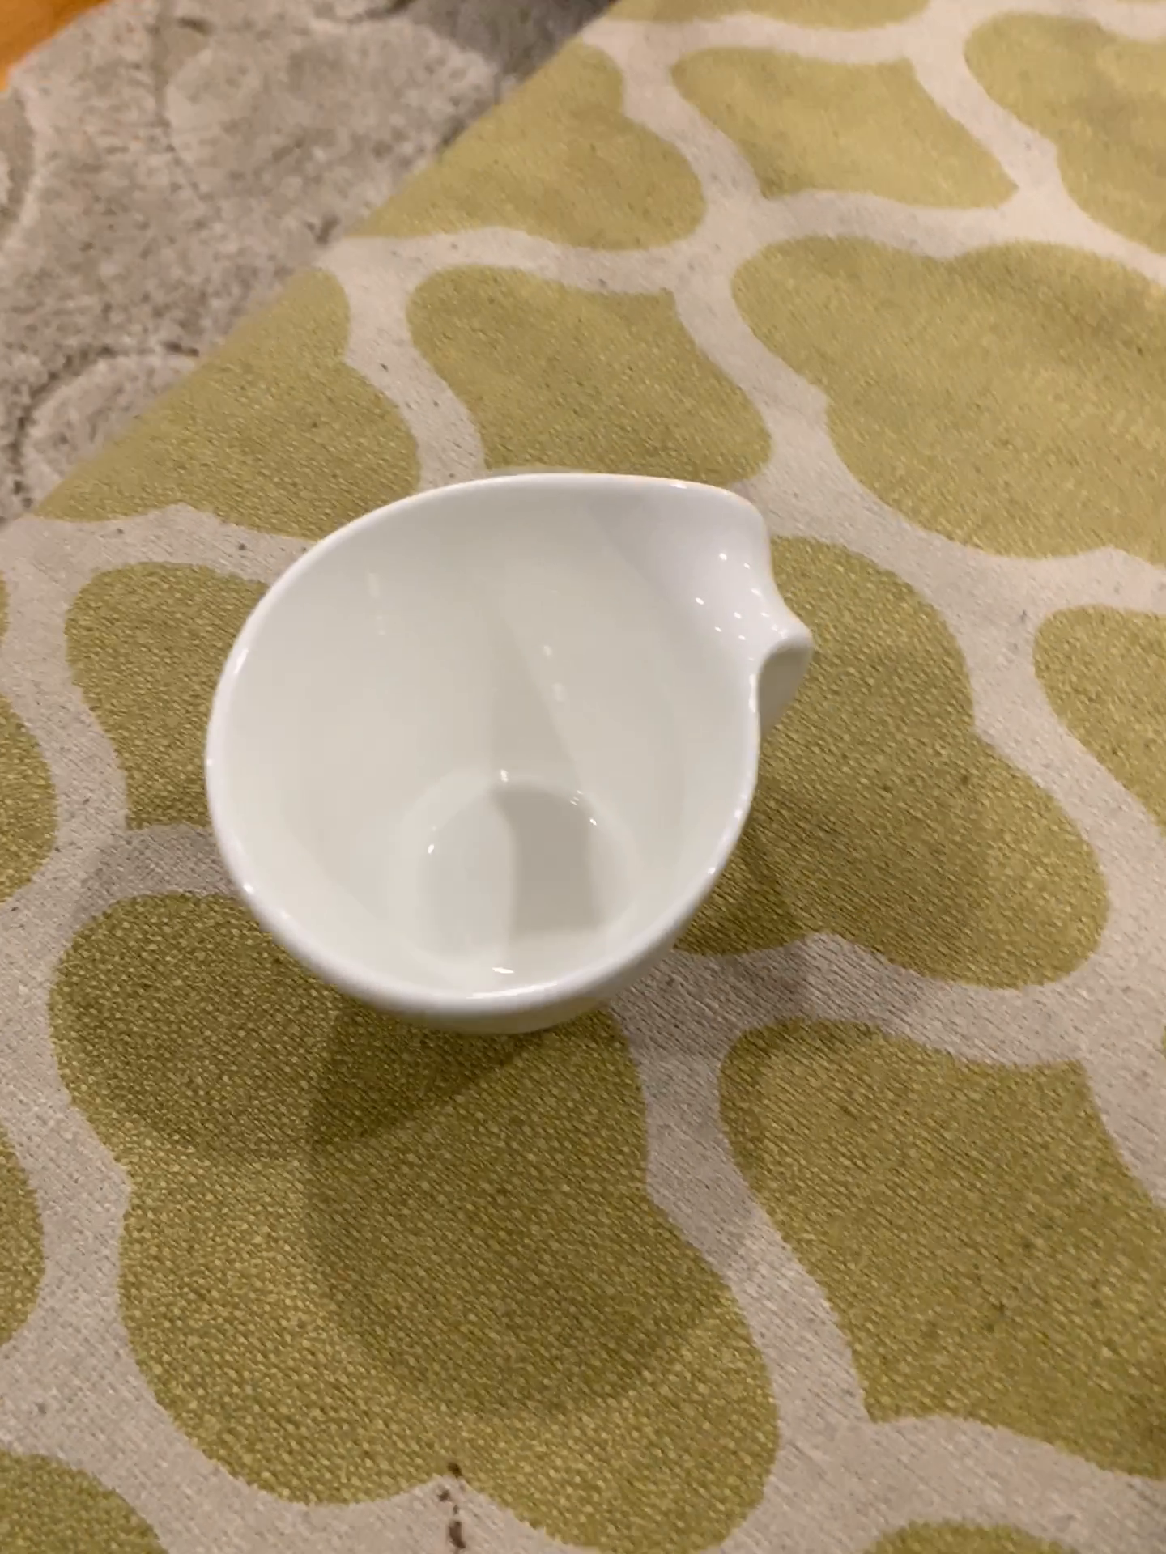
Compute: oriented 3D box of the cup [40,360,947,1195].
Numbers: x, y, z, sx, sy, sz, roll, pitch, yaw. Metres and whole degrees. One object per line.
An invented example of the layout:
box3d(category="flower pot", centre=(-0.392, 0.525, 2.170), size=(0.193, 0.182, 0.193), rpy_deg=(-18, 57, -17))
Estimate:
box3d(category="cup", centre=(-0.016, 0.003, 0.215), size=(0.109, 0.079, 0.089), rpy_deg=(-24, 66, -10))
